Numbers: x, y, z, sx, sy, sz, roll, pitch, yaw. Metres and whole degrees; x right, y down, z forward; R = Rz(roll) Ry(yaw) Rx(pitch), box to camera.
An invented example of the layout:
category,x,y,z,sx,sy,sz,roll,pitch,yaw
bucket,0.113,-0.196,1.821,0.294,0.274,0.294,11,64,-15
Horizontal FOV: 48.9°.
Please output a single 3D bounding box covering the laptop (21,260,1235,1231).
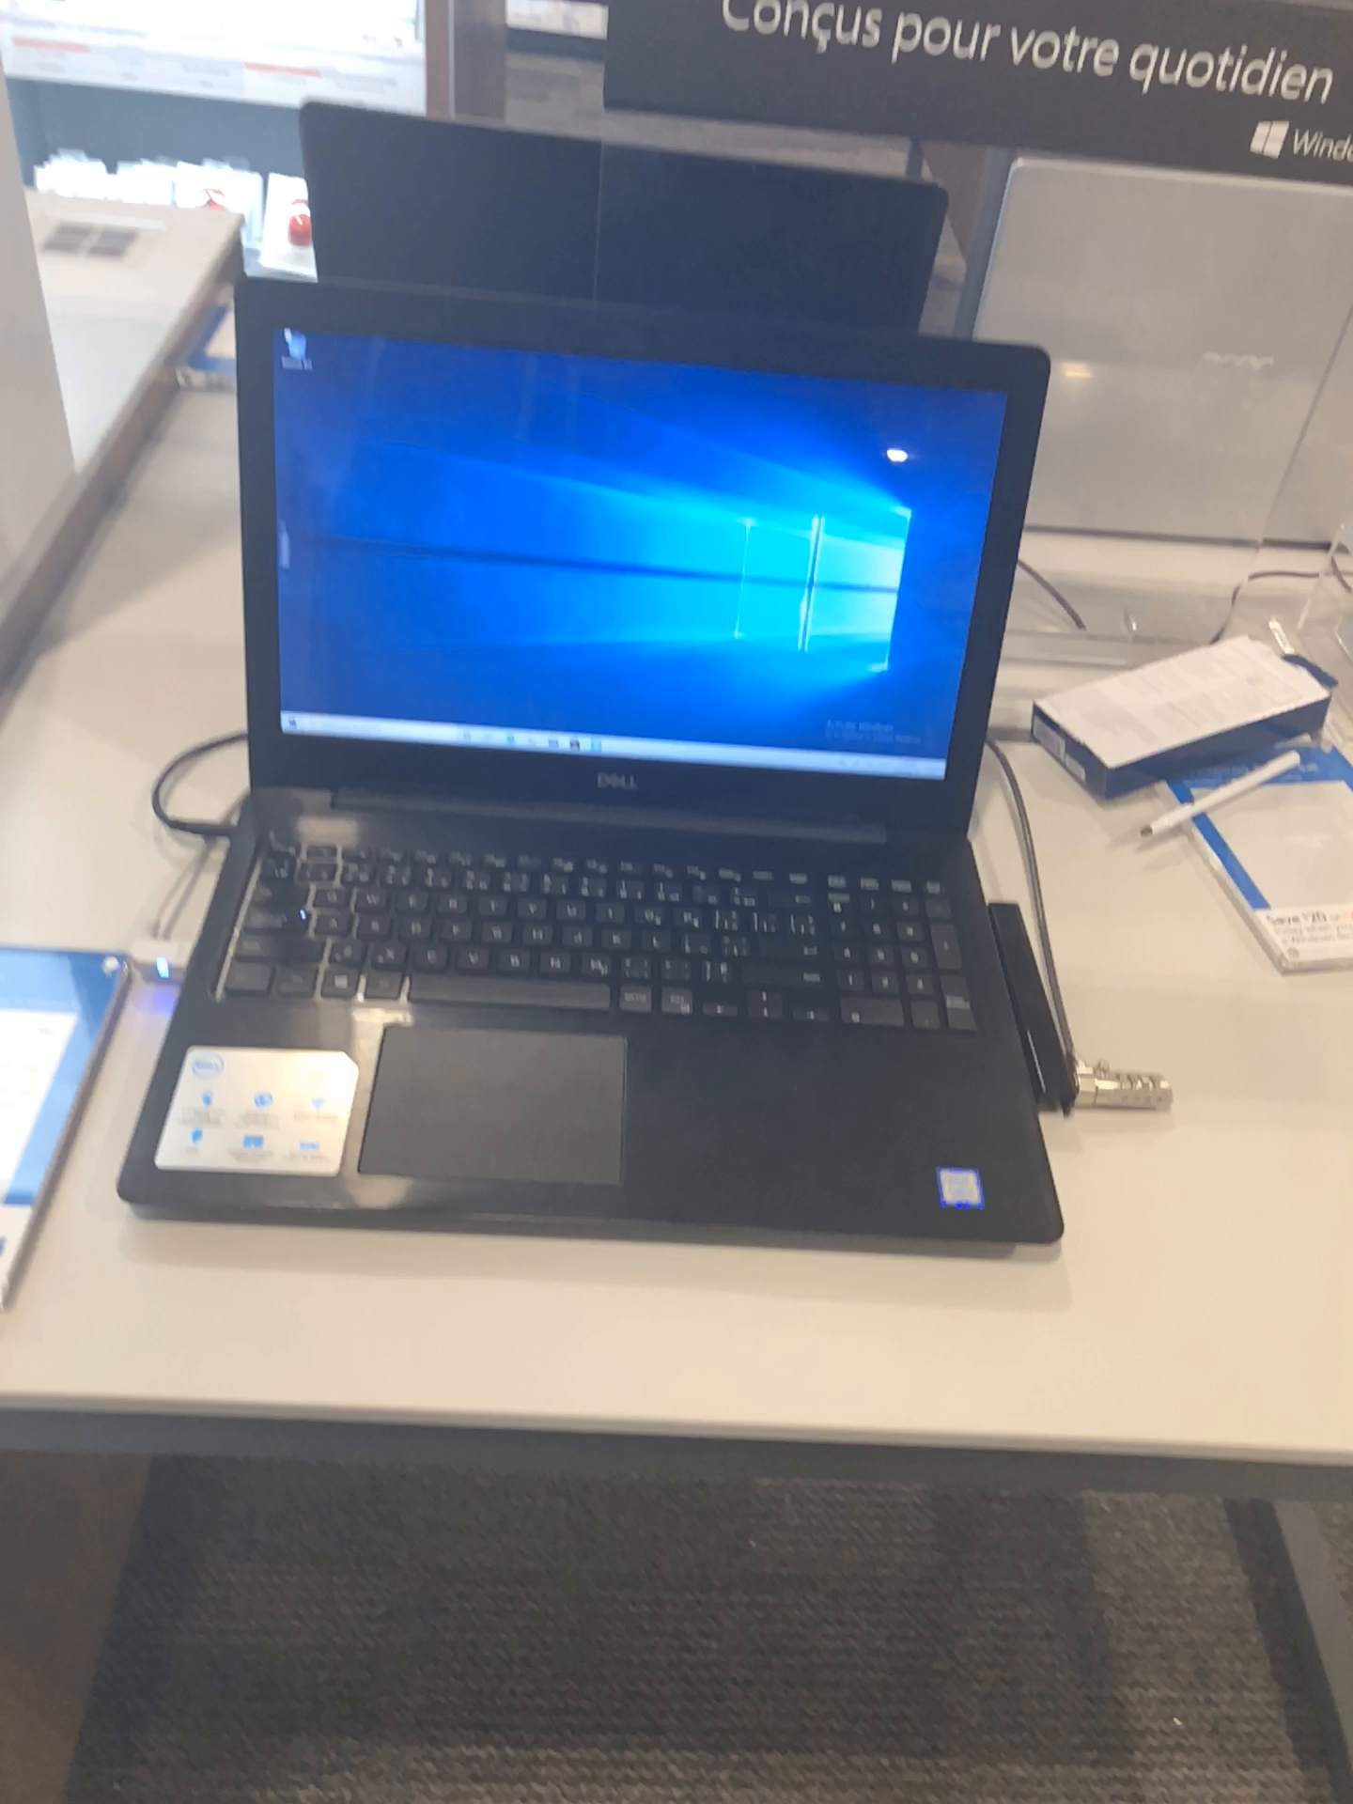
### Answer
category,x,y,z,sx,sy,sz,roll,pitch,yaw
laptop,-0.022,-0.079,0.639,0.363,0.224,0.337,3,44,-3
